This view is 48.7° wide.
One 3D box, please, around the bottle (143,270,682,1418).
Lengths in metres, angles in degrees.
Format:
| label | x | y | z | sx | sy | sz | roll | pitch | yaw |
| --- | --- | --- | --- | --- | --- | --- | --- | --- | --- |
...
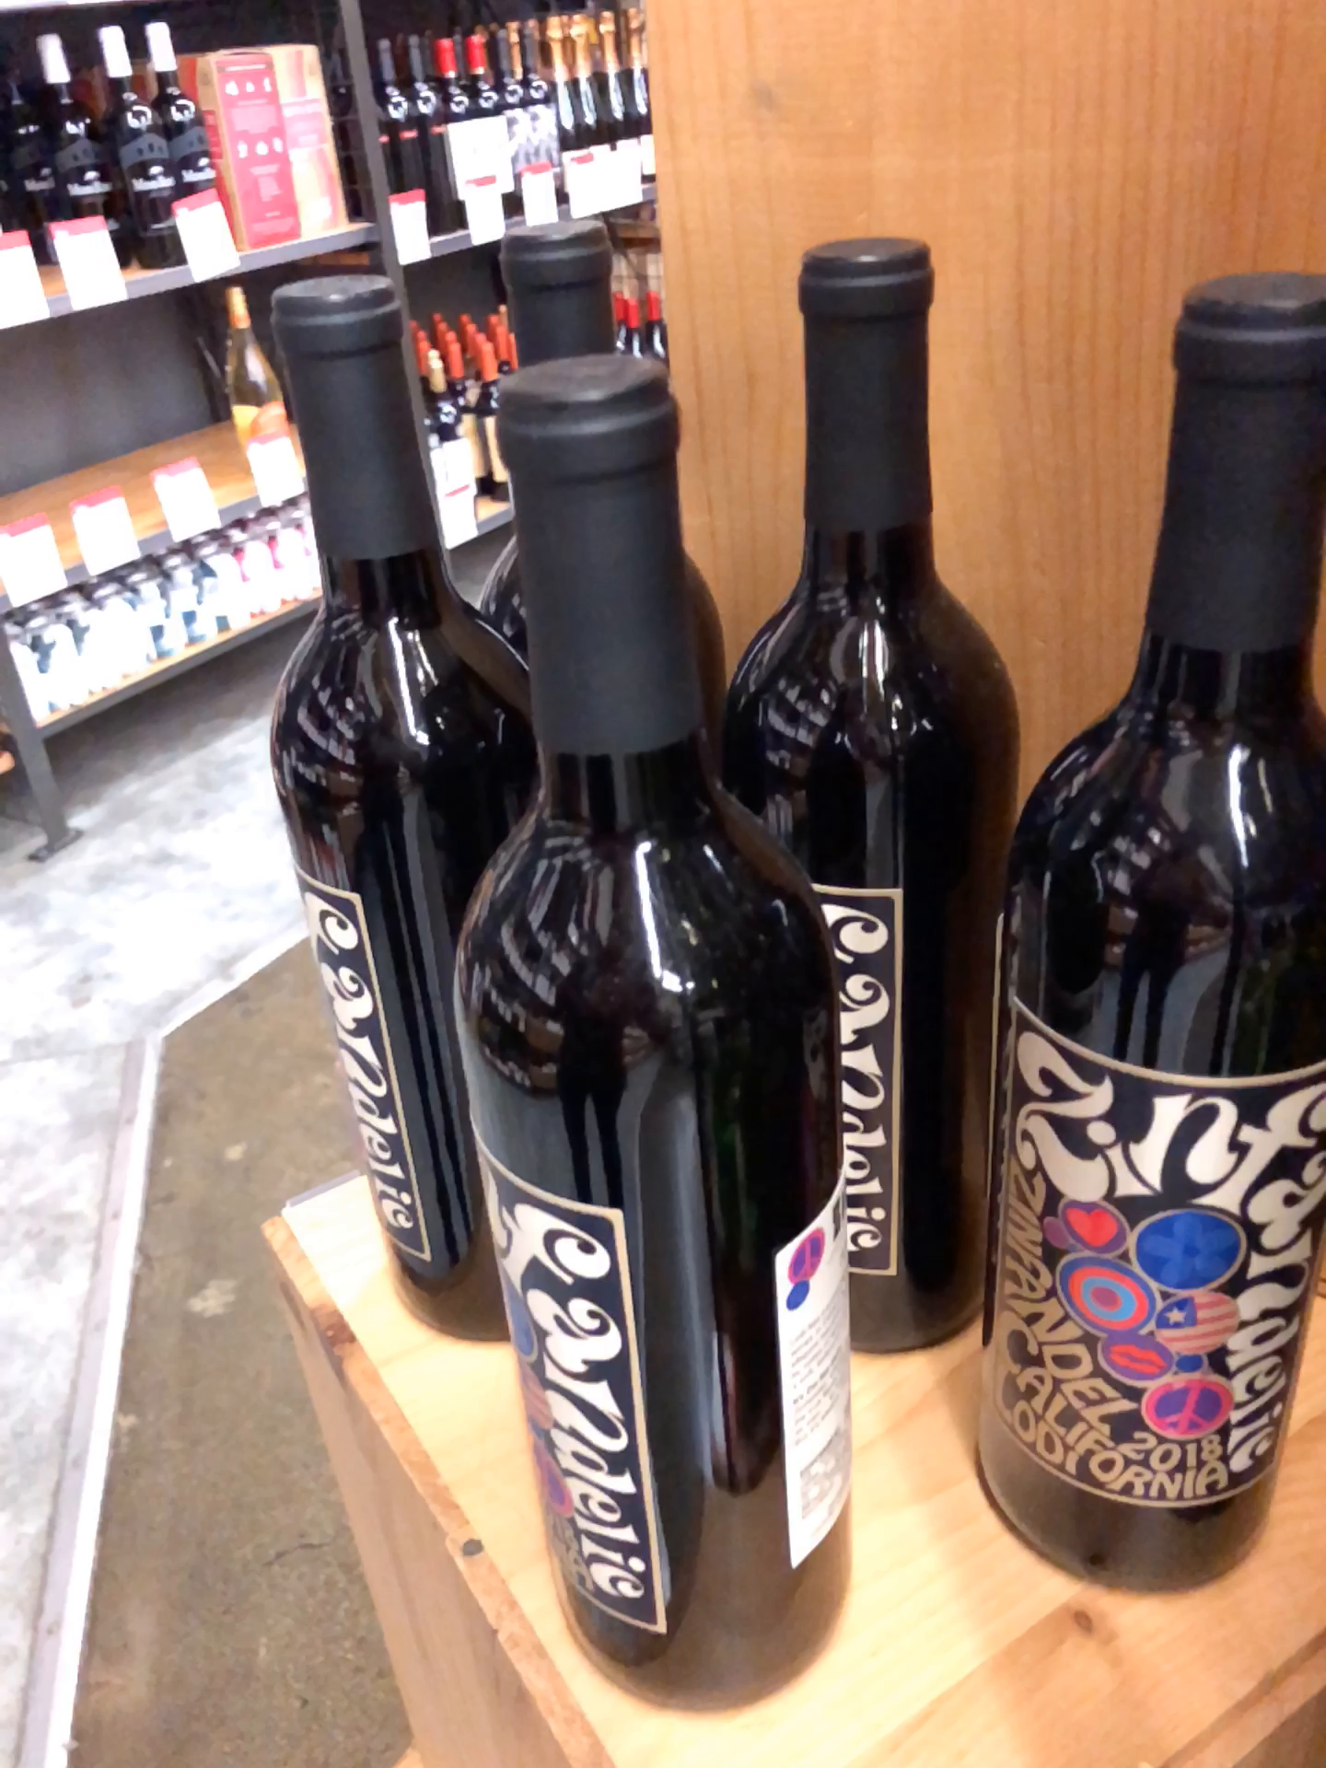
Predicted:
| label | x | y | z | sx | sy | sz | roll | pitch | yaw |
| --- | --- | --- | --- | --- | --- | --- | --- | --- | --- |
| bottle | -0.059 | 0.001 | 0.407 | 0.077 | 0.304 | 0.080 | -4 | 31 | 2 |

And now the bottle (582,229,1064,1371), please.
| label | x | y | z | sx | sy | sz | roll | pitch | yaw |
| --- | --- | --- | --- | --- | --- | --- | --- | --- | --- |
| bottle | 0.046 | -0.010 | 0.371 | 0.080 | 0.274 | 0.077 | -4 | 31 | 2 |

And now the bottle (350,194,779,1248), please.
| label | x | y | z | sx | sy | sz | roll | pitch | yaw |
| --- | --- | --- | --- | --- | --- | --- | --- | --- | --- |
| bottle | -0.018 | -0.032 | 0.411 | 0.080 | 0.280 | 0.077 | -4 | 31 | 2 |

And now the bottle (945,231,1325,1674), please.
| label | x | y | z | sx | sy | sz | roll | pitch | yaw |
| --- | --- | --- | --- | --- | --- | --- | --- | --- | --- |
| bottle | 0.113 | 0.033 | 0.319 | 0.080 | 0.310 | 0.077 | -4 | 31 | 2 |

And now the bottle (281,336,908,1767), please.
| label | x | y | z | sx | sy | sz | roll | pitch | yaw |
| --- | --- | --- | --- | --- | --- | --- | --- | --- | --- |
| bottle | -0.003 | 0.051 | 0.292 | 0.070 | 0.286 | 0.073 | -4 | 31 | 2 |
